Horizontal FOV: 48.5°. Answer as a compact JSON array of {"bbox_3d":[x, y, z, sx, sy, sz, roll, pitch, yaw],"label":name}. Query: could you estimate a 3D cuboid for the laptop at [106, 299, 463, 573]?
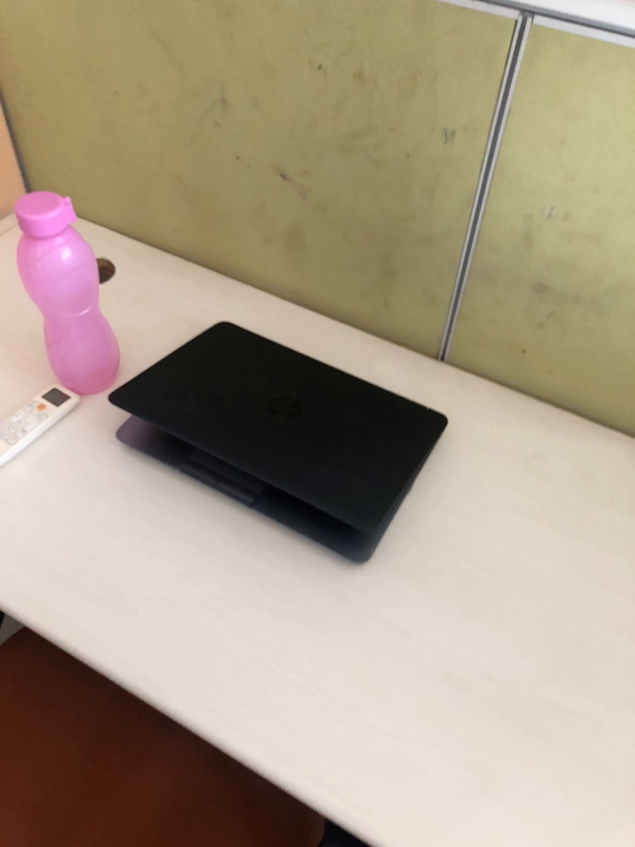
[{"bbox_3d":[-0.035,-0.004,0.816,0.330,0.050,0.227,25,55,18],"label":"laptop"}]
